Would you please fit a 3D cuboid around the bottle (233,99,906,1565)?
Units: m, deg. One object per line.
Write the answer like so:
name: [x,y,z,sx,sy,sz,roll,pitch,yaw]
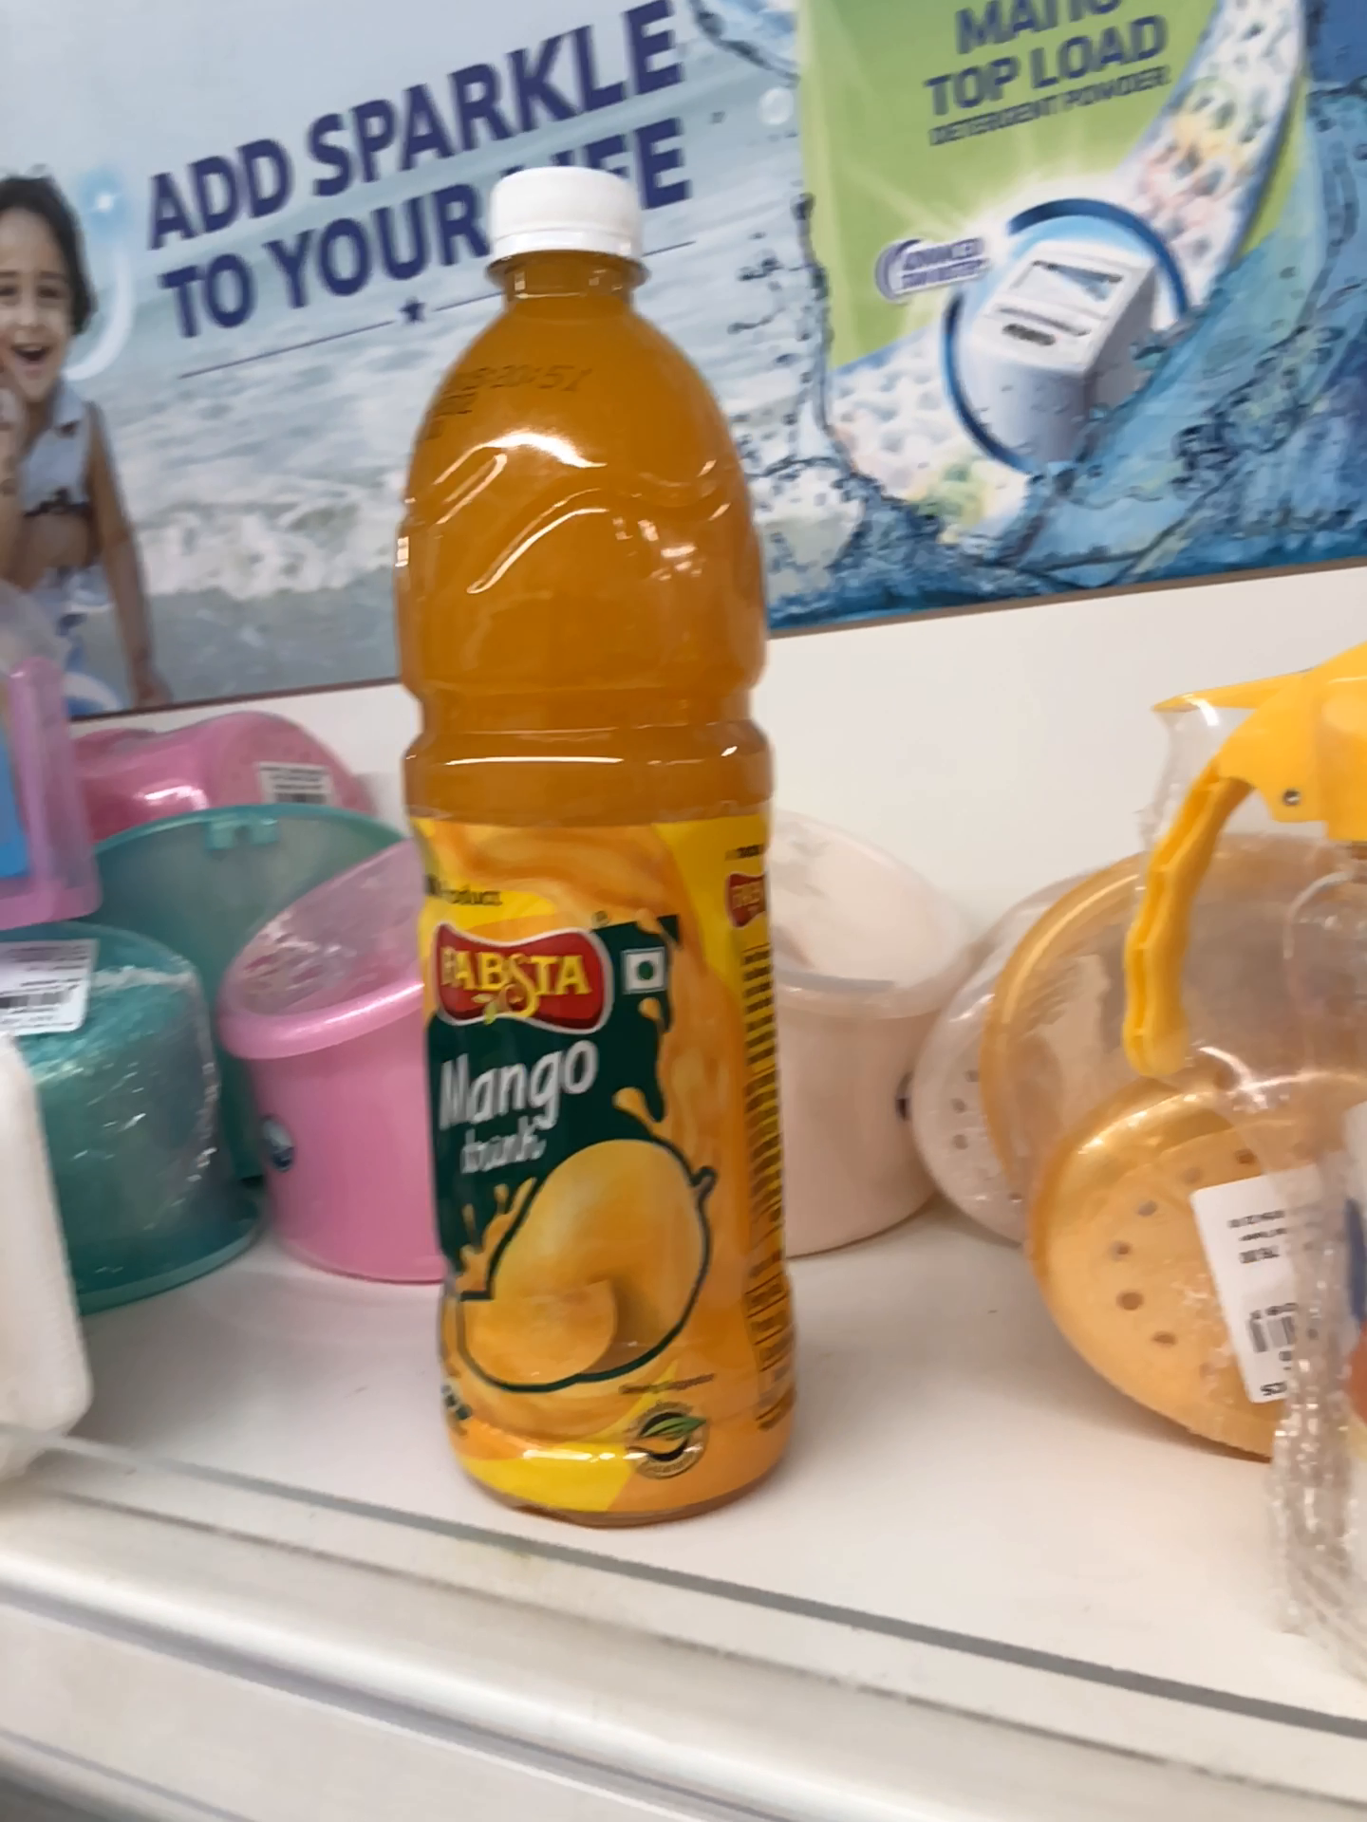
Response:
bottle: [-0.017,-0.012,0.321,0.090,0.259,0.080,-2,7,25]
